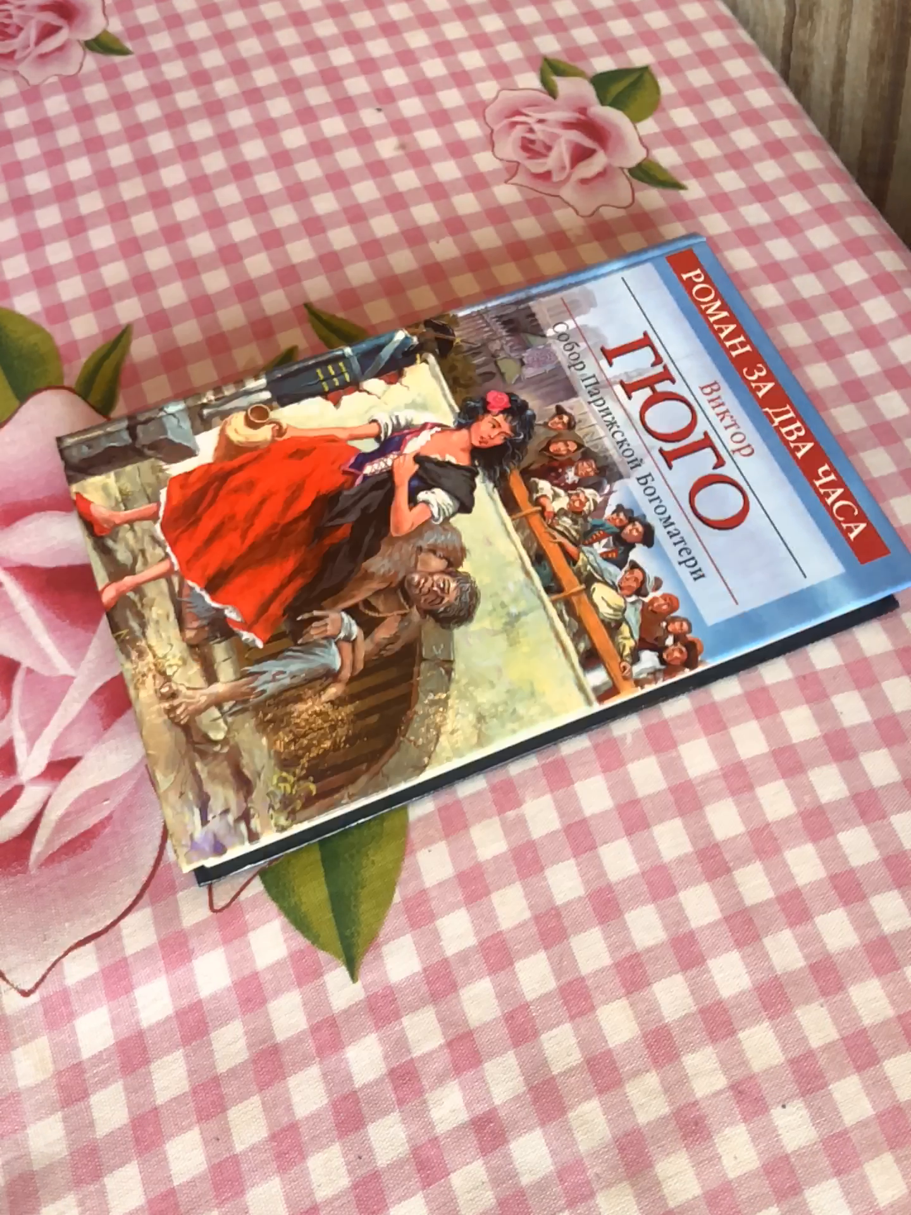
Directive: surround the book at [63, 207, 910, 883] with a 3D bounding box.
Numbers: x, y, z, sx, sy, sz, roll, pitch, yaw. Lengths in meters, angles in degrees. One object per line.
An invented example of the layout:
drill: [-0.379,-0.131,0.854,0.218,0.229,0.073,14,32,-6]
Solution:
book: [0.010,-0.028,0.289,0.207,0.028,0.136,-20,67,-9]
